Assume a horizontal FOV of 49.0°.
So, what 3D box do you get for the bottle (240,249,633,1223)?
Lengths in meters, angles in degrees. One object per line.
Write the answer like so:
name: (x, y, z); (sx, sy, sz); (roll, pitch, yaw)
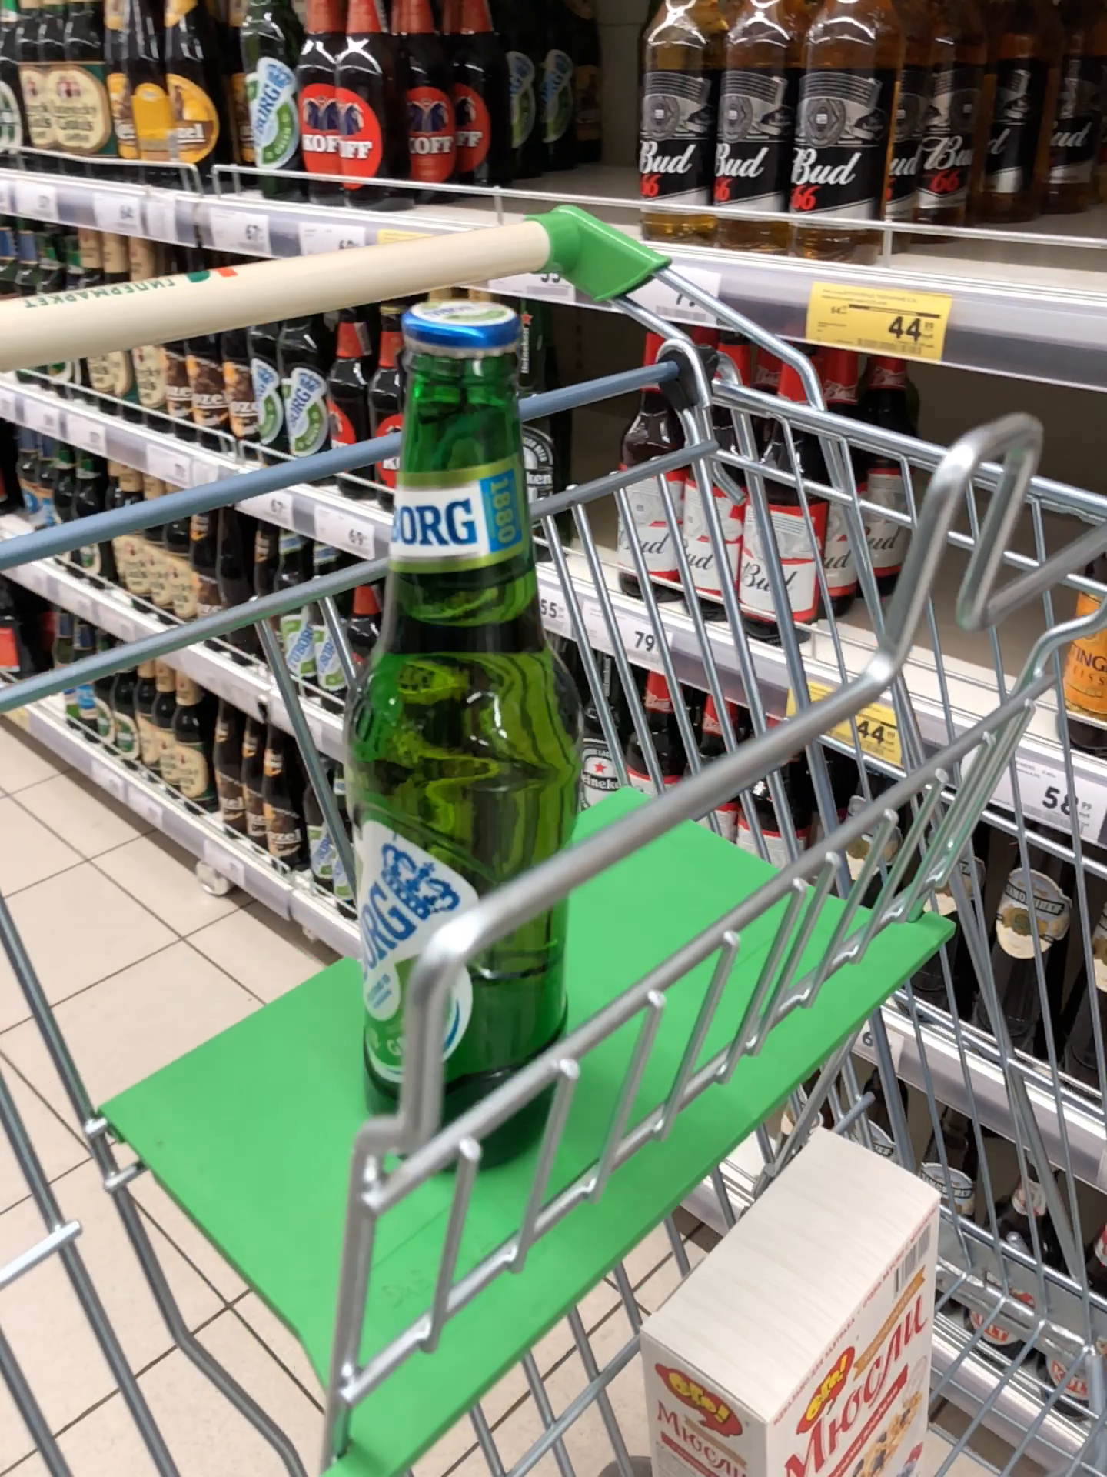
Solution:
bottle: (-0.030, 0.008, 0.342); (0.070, 0.258, 0.080); (-11, 32, -18)
